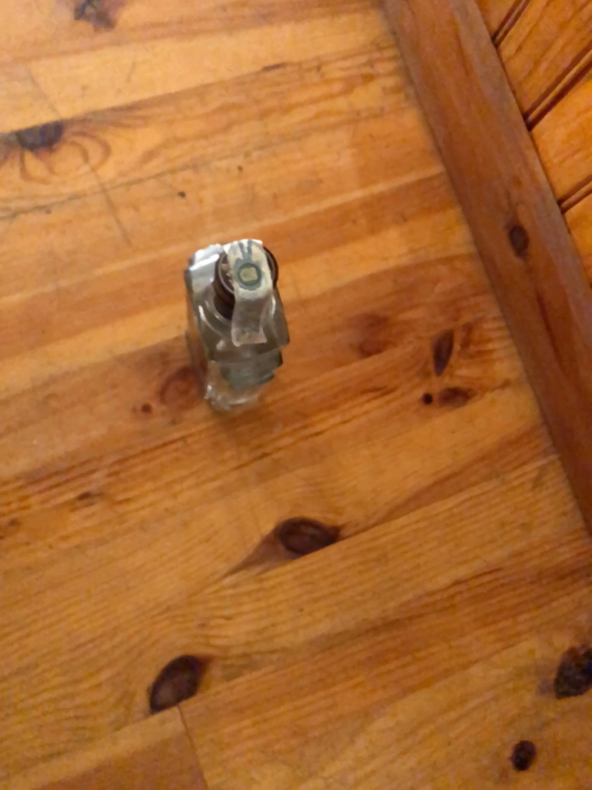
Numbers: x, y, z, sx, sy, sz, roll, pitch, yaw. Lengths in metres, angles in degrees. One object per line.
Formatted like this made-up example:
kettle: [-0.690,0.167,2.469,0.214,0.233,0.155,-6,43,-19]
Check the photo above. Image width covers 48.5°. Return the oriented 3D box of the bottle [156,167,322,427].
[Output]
bottle: [-0.046,-0.044,0.446,0.060,0.250,0.100,-13,85,-10]
